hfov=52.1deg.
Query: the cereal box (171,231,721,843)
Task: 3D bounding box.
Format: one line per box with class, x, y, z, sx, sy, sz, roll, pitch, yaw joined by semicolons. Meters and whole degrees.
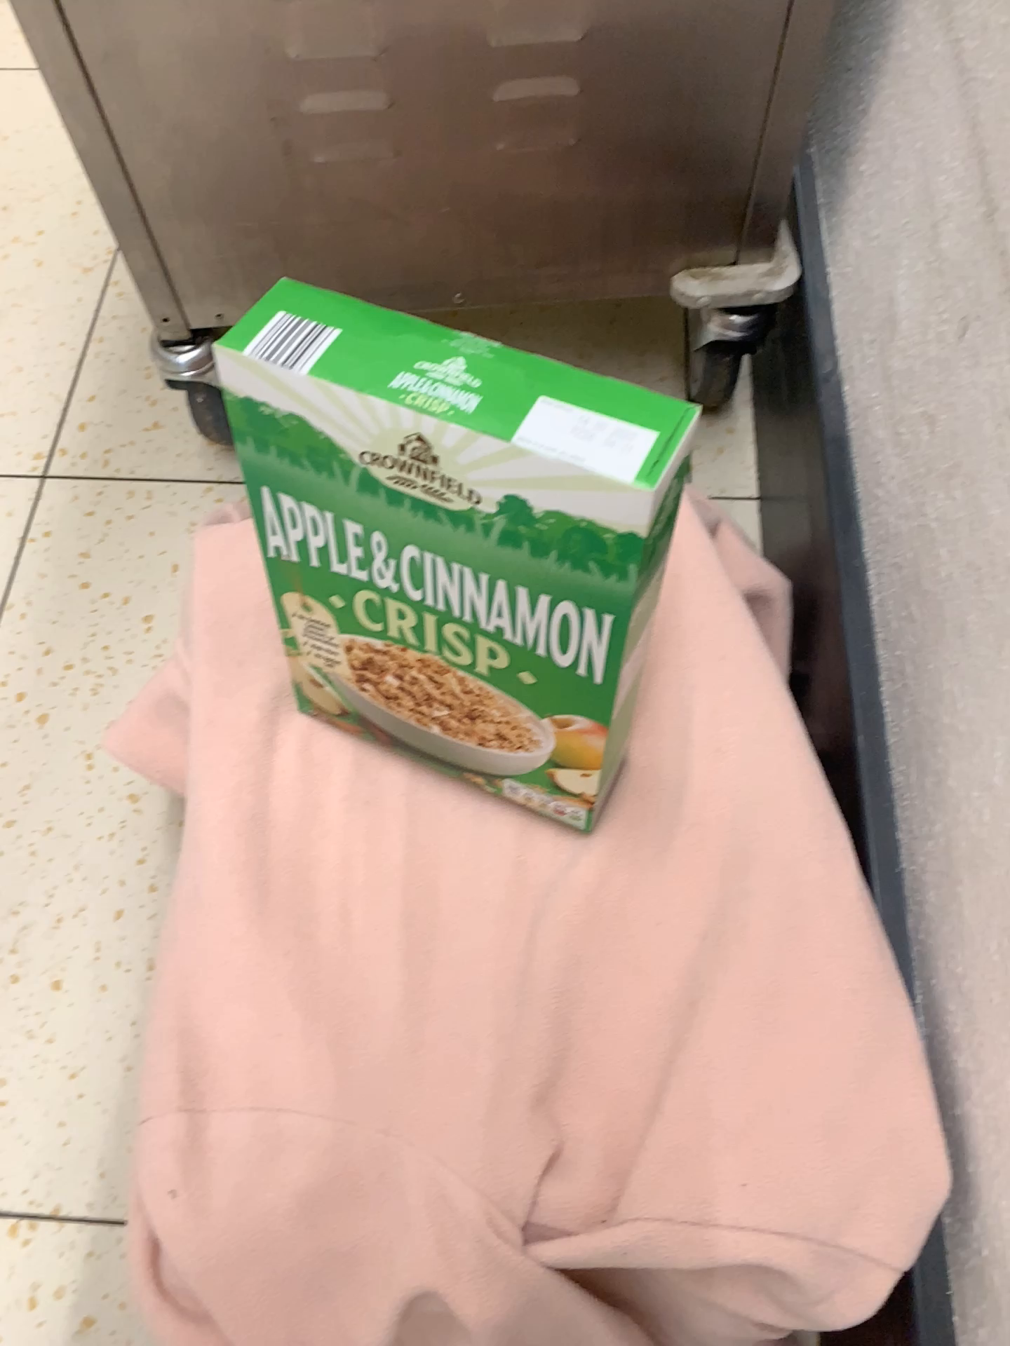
cereal box;-0.025;-0.043;0.474;0.190;0.258;0.060;22;57;14
